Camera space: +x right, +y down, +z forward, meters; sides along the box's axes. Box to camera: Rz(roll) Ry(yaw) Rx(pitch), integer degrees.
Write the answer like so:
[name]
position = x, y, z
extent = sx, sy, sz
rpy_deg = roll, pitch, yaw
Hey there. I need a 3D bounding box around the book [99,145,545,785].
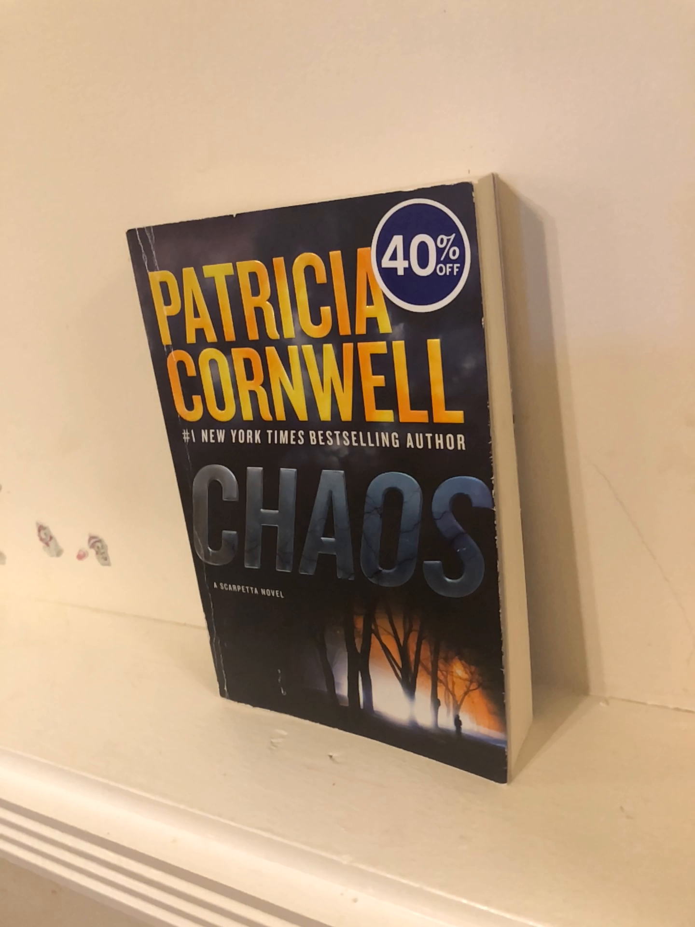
[book]
position = -0.012, -0.001, 0.323
extent = 0.170, 0.219, 0.050
rpy_deg = 4, 16, 35
